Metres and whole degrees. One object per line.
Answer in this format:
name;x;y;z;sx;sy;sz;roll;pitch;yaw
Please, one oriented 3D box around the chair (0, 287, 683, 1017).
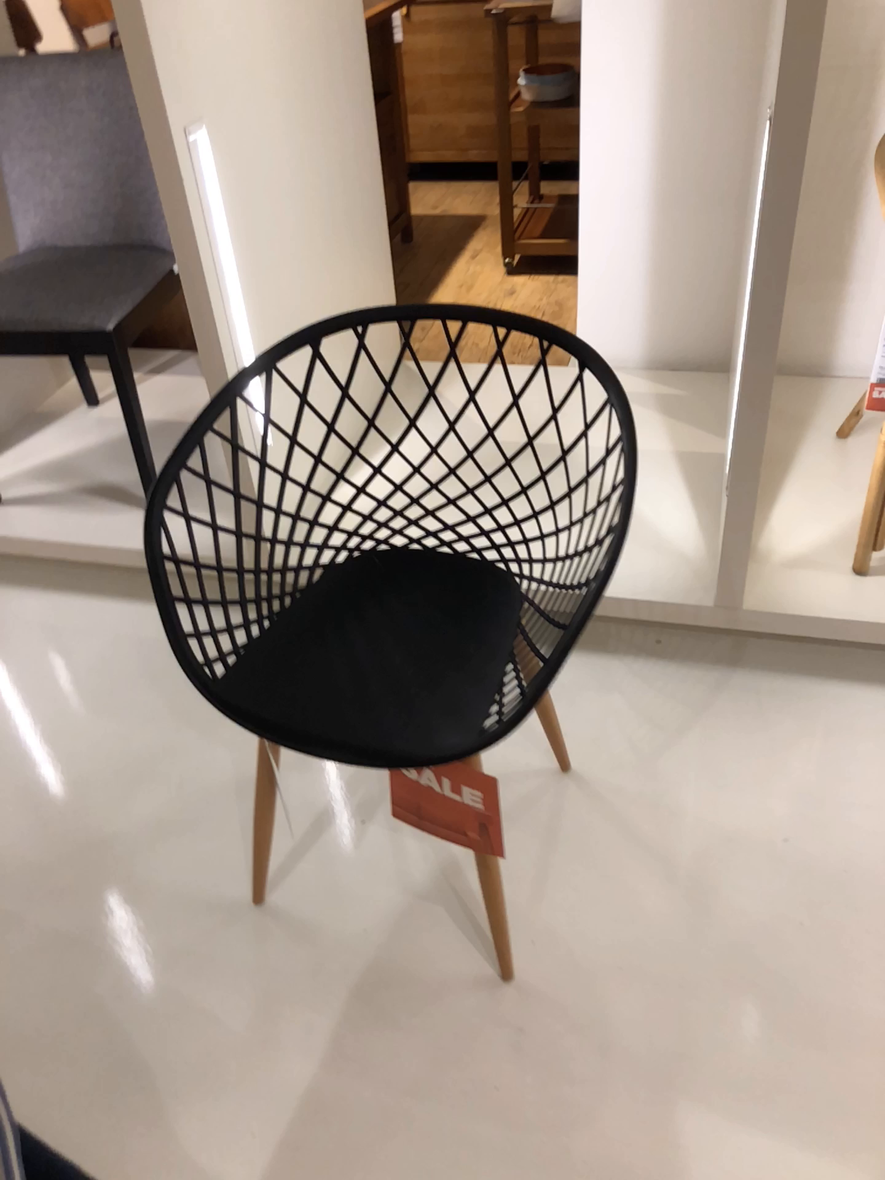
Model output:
chair;-0.051;0.046;1.365;0.621;0.704;0.604;9;40;19
